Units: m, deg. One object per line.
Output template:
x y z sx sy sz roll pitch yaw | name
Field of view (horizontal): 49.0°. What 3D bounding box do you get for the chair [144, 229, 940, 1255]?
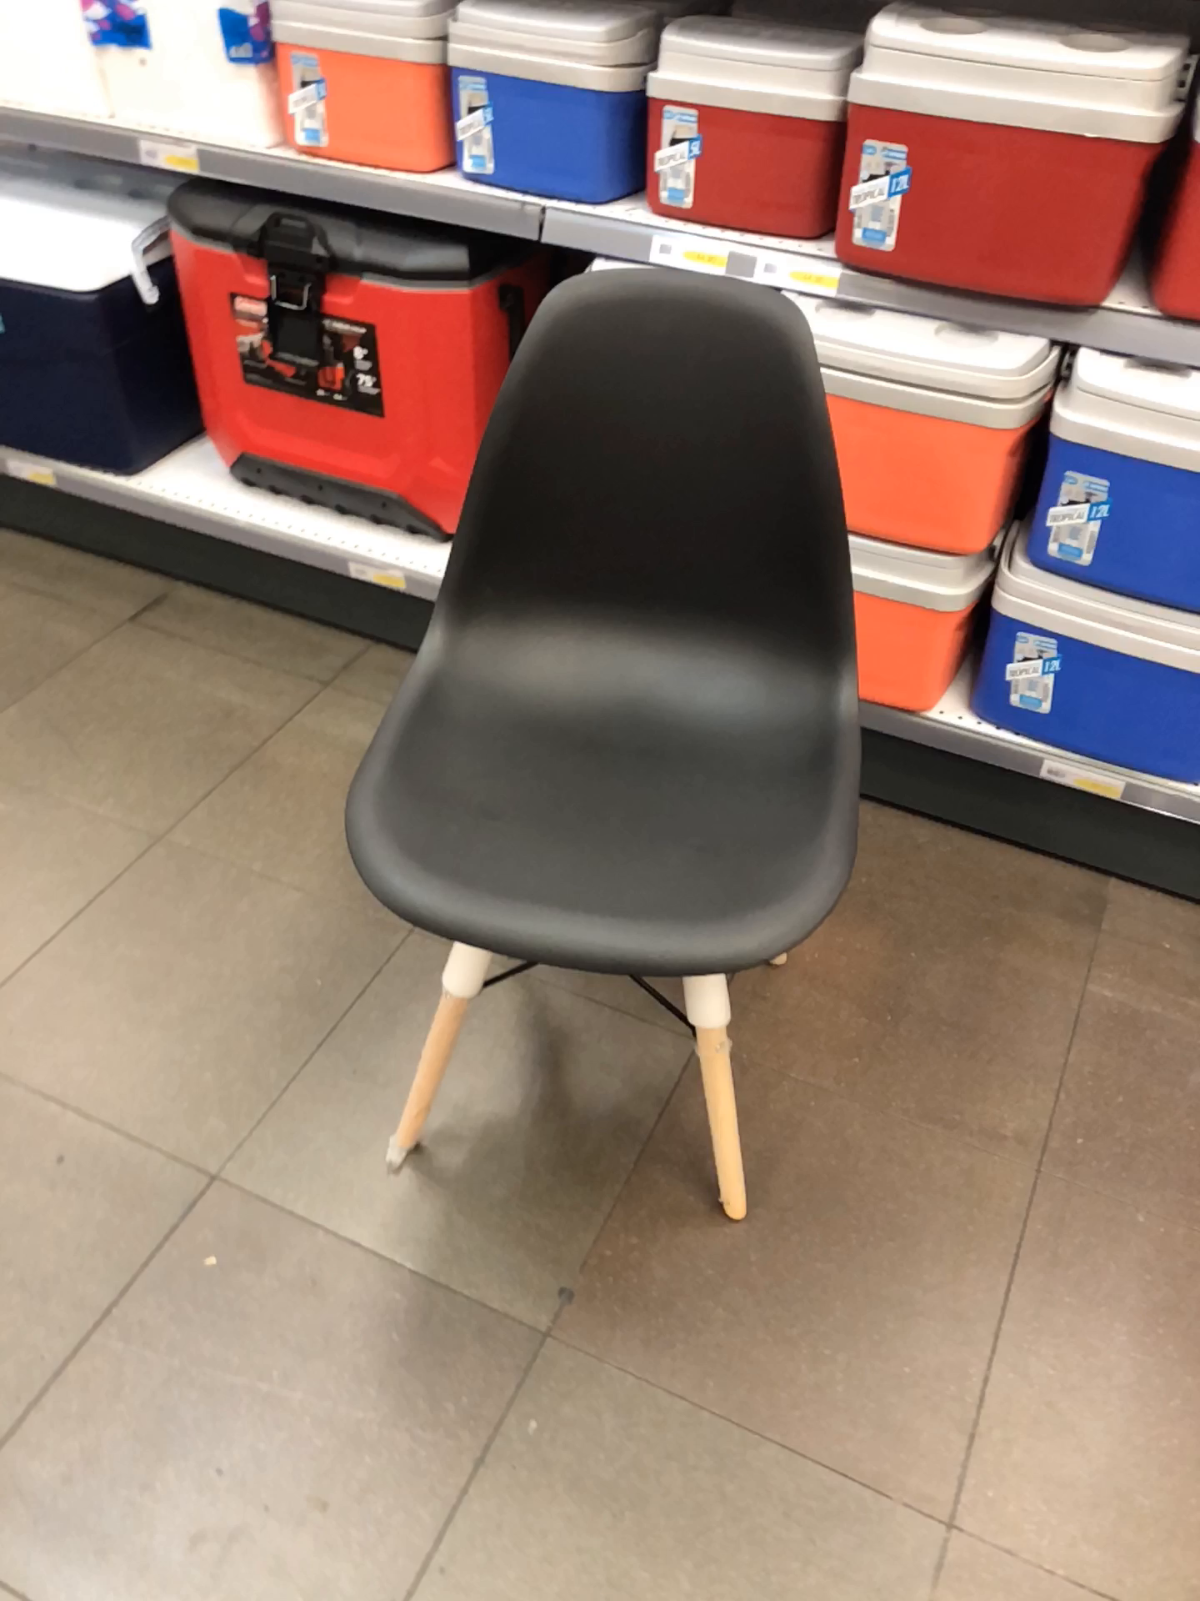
0.003 -0.059 1.247 0.500 0.724 0.554 8 41 8 | chair
